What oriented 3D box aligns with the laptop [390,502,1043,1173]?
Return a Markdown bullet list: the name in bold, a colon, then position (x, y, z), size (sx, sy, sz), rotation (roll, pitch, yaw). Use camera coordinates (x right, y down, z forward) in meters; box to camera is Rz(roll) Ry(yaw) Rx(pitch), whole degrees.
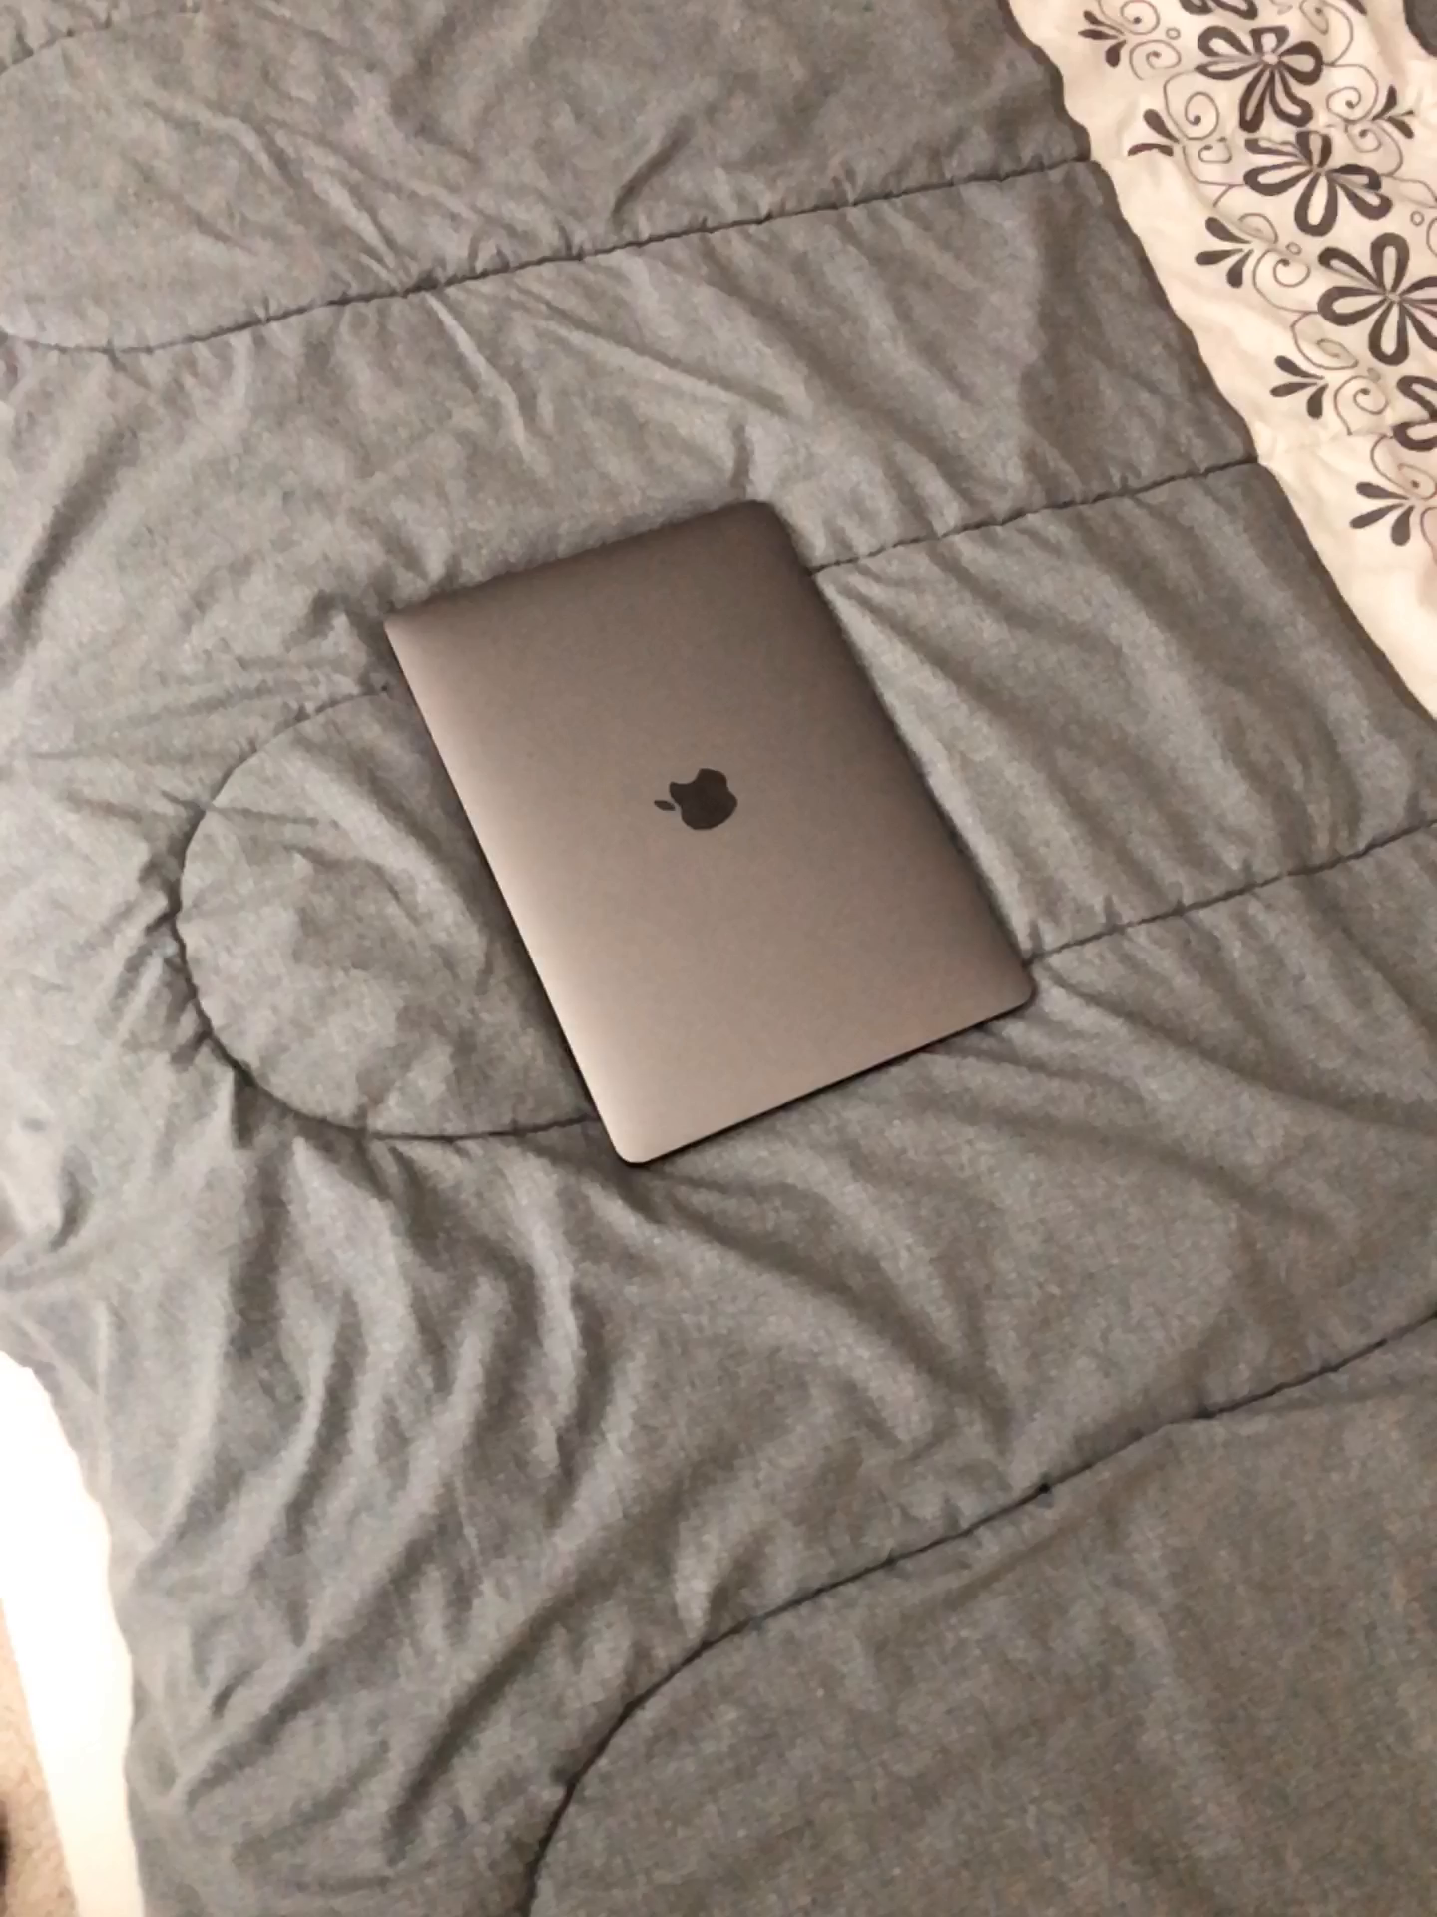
- **laptop**: position (-0.006, -0.072, 0.755), size (0.207, 0.008, 0.295), rotation (-22, 71, -13)
